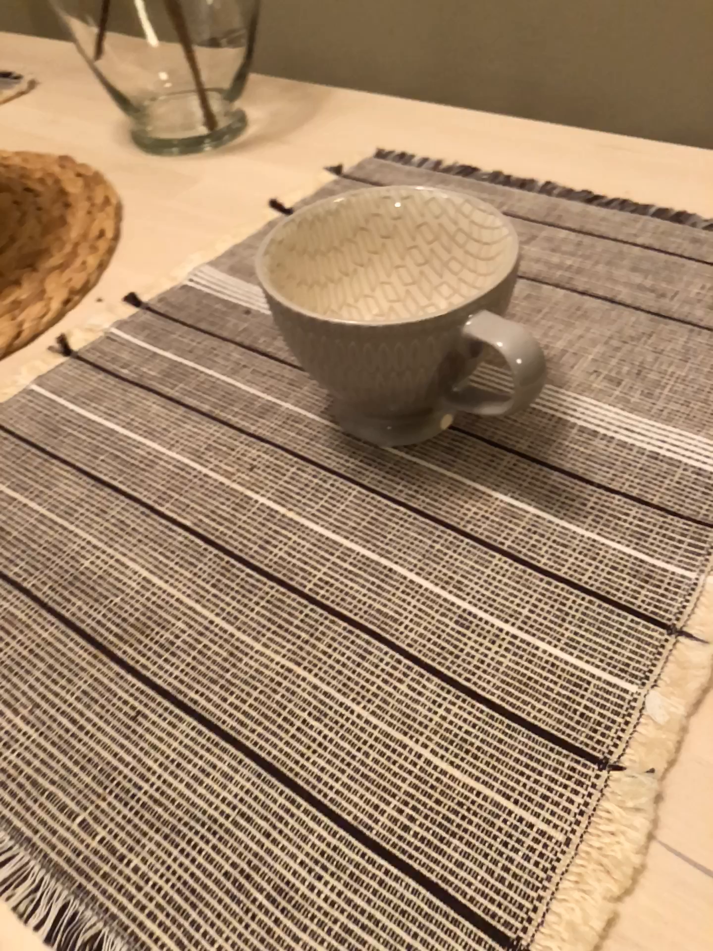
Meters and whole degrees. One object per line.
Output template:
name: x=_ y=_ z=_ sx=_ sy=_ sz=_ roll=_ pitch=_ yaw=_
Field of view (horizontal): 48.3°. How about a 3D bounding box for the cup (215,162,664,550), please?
cup: x=0.032 y=-0.063 z=0.355 sx=0.110 sy=0.080 sz=0.150 roll=-34 pitch=50 yaw=-26
